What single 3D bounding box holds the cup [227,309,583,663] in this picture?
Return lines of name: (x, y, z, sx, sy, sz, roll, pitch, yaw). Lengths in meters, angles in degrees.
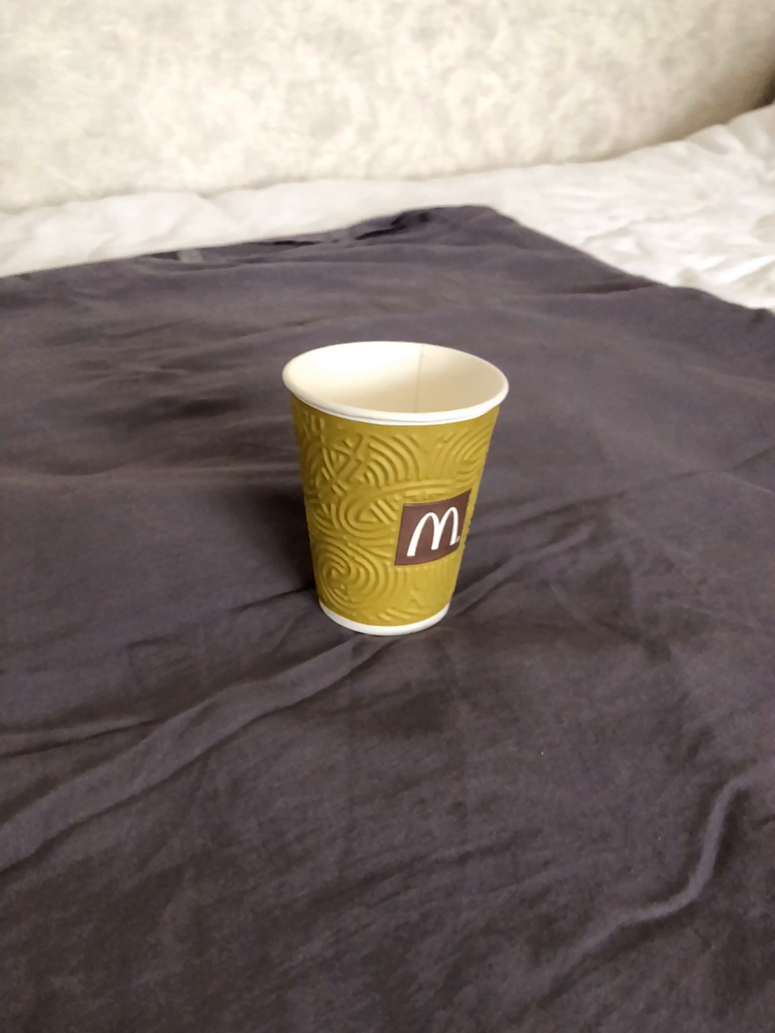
cup: (0.001, -0.020, 0.354, 0.107, 0.101, 0.099, 2, 27, -1)
